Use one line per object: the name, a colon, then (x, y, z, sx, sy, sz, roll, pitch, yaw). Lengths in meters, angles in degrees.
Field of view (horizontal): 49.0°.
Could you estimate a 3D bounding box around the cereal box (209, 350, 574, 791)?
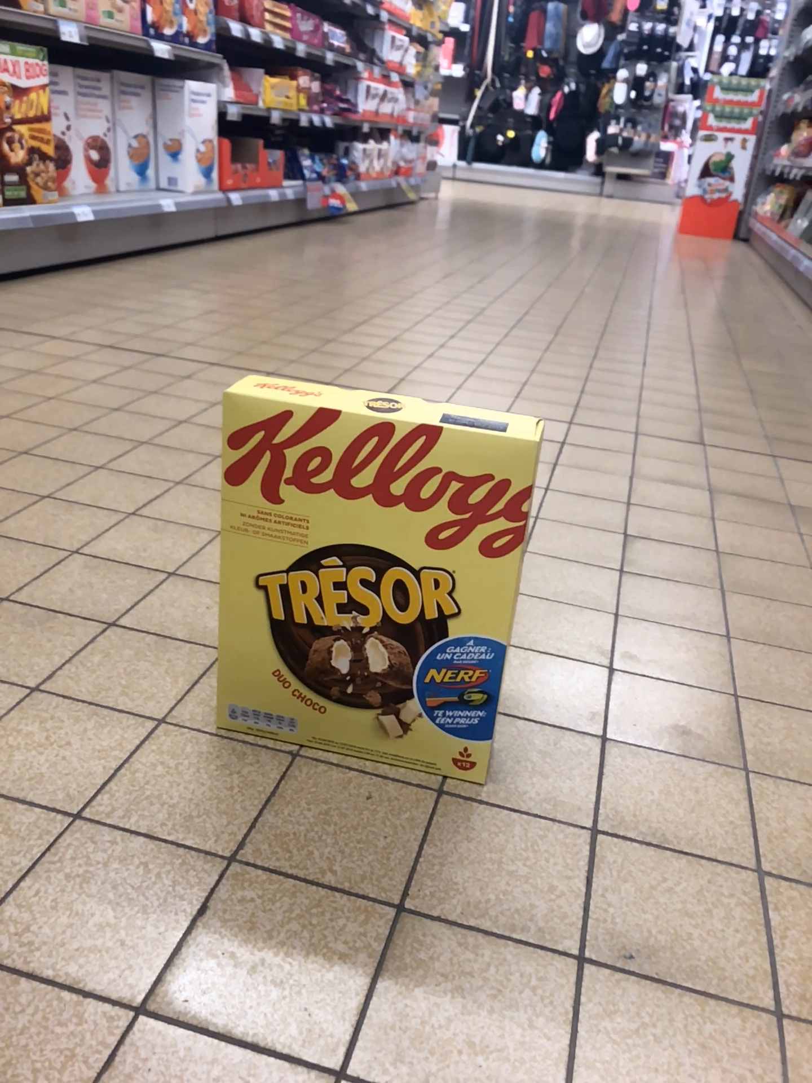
cereal box: (-0.017, 0.019, 0.559, 0.200, 0.239, 0.060, 10, 24, 10)
